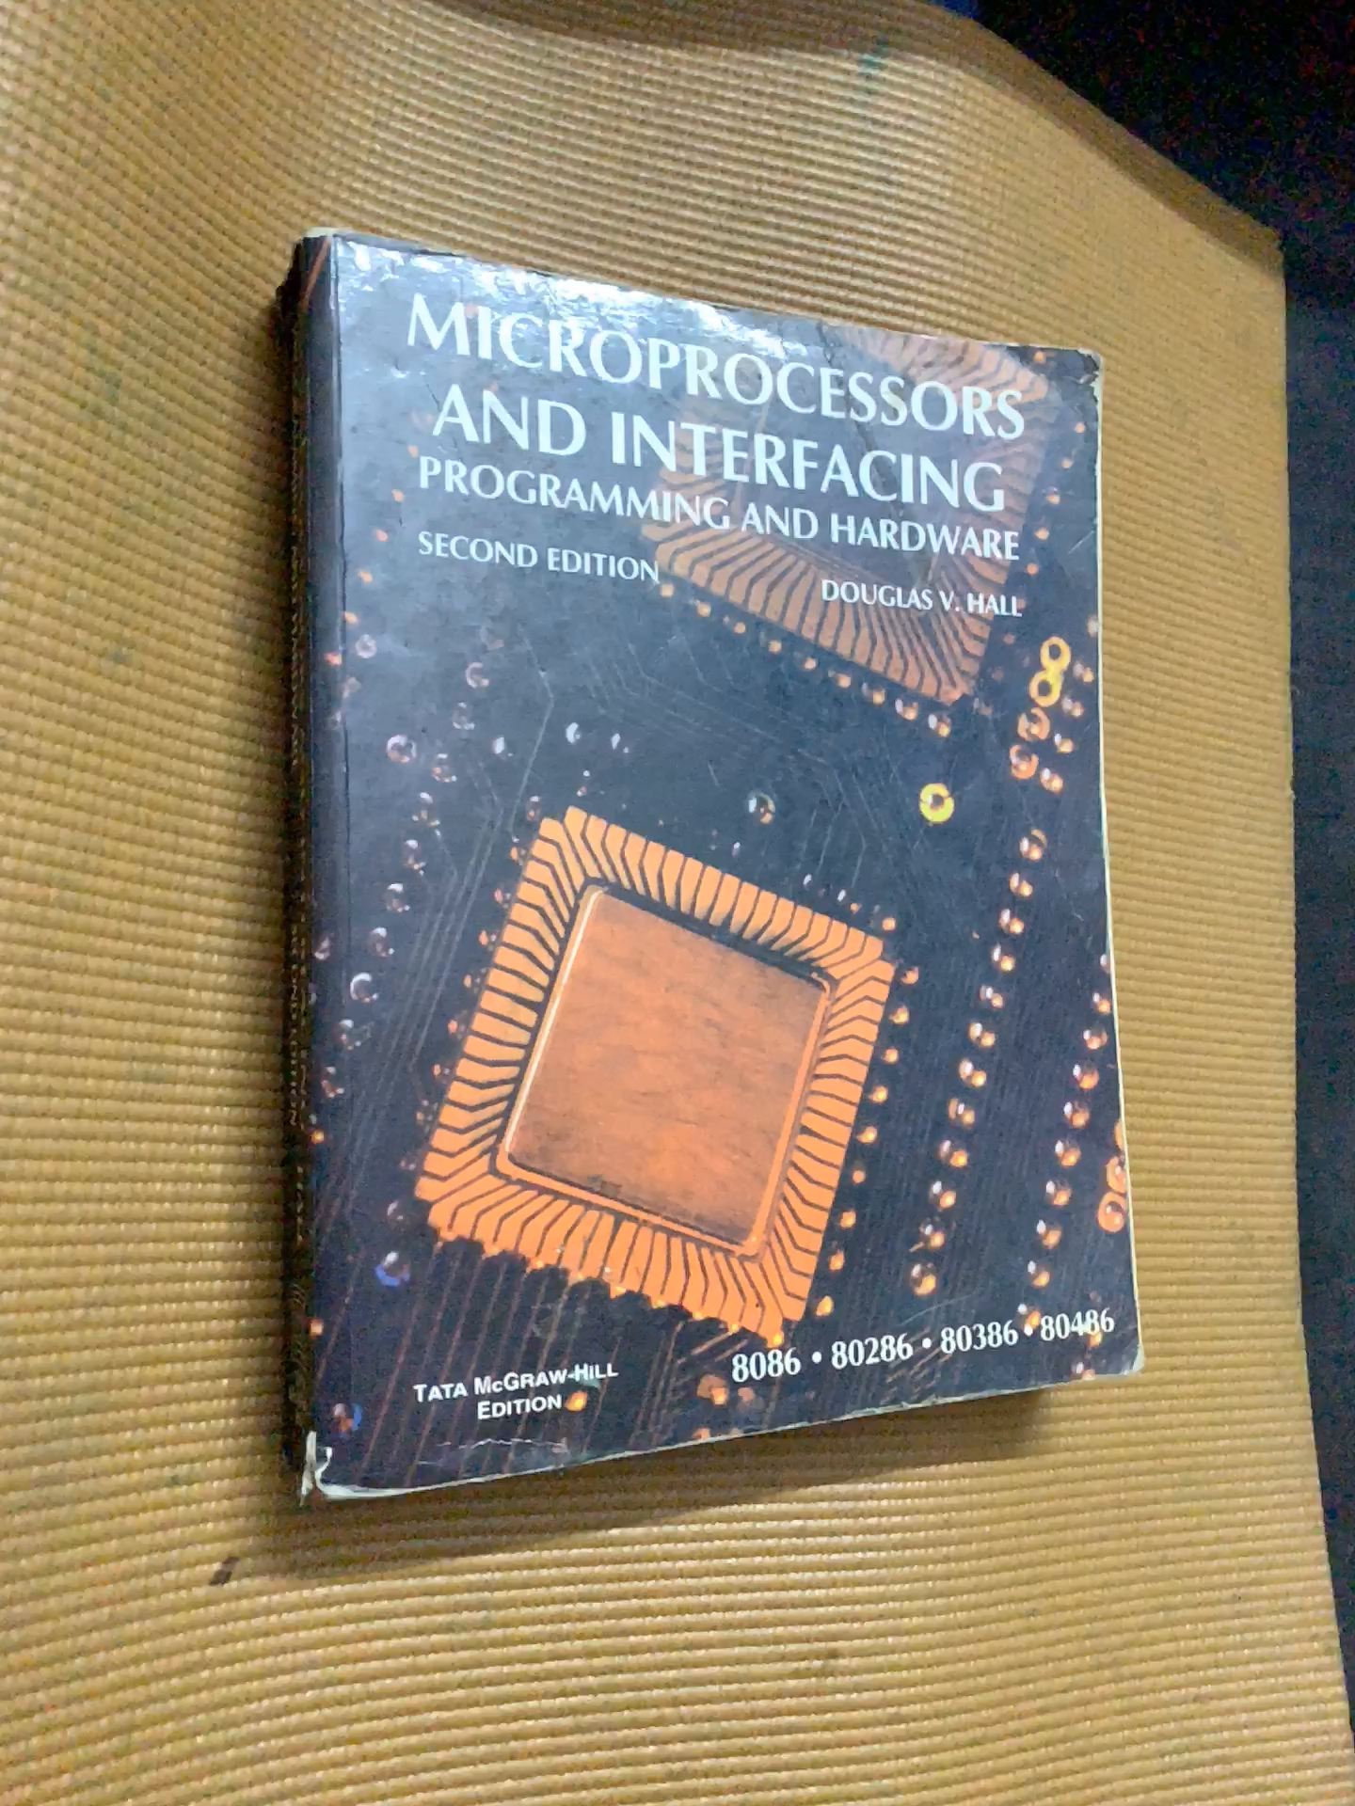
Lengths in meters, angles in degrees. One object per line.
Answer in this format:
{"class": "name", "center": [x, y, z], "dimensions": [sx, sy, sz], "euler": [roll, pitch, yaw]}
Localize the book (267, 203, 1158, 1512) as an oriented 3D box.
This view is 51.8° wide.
{"class": "book", "center": [0.013, -0.015, 0.430], "dimensions": [0.260, 0.060, 0.339], "euler": [1, 84, -20]}
